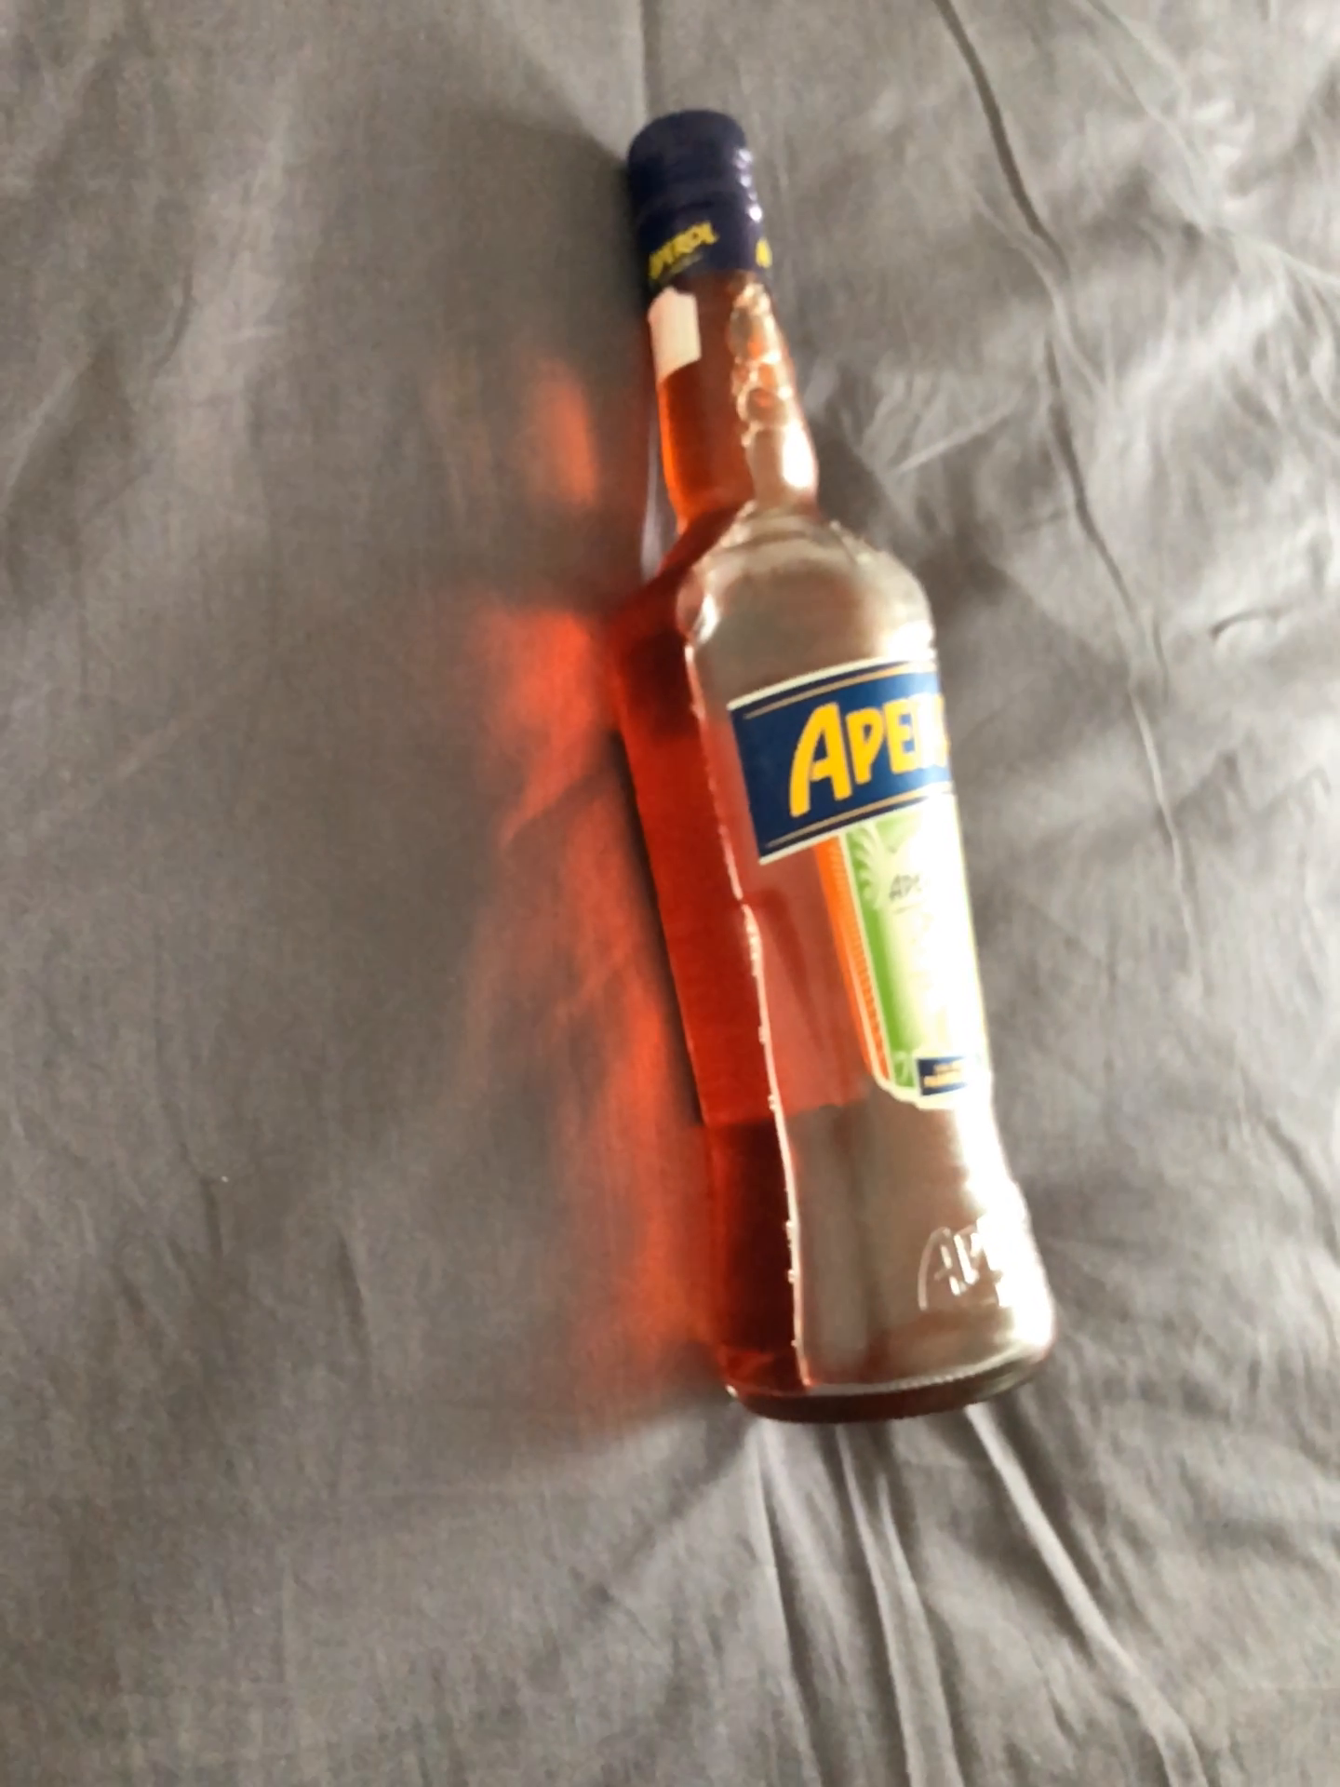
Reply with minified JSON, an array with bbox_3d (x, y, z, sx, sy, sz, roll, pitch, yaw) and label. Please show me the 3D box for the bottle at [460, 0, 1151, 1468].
[{"bbox_3d":[0.030,-0.045,0.359,0.100,0.070,0.320,-4,83,-39],"label":"bottle"}]
